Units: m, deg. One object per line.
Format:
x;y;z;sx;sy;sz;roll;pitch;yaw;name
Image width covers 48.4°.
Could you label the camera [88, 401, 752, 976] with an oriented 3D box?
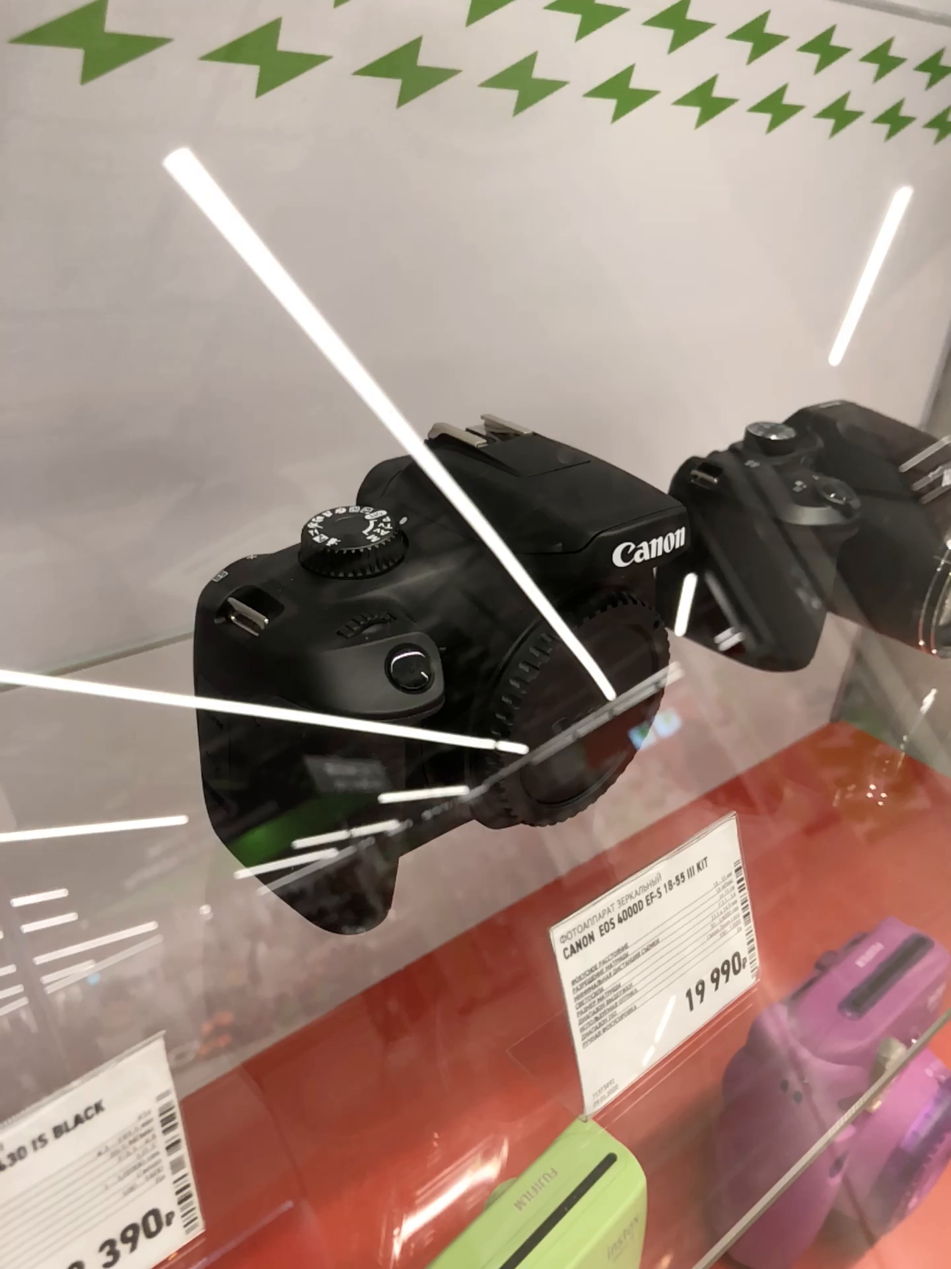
-0.013;-0.001;0.285;0.136;0.083;0.100;-21;38;-41;camera
